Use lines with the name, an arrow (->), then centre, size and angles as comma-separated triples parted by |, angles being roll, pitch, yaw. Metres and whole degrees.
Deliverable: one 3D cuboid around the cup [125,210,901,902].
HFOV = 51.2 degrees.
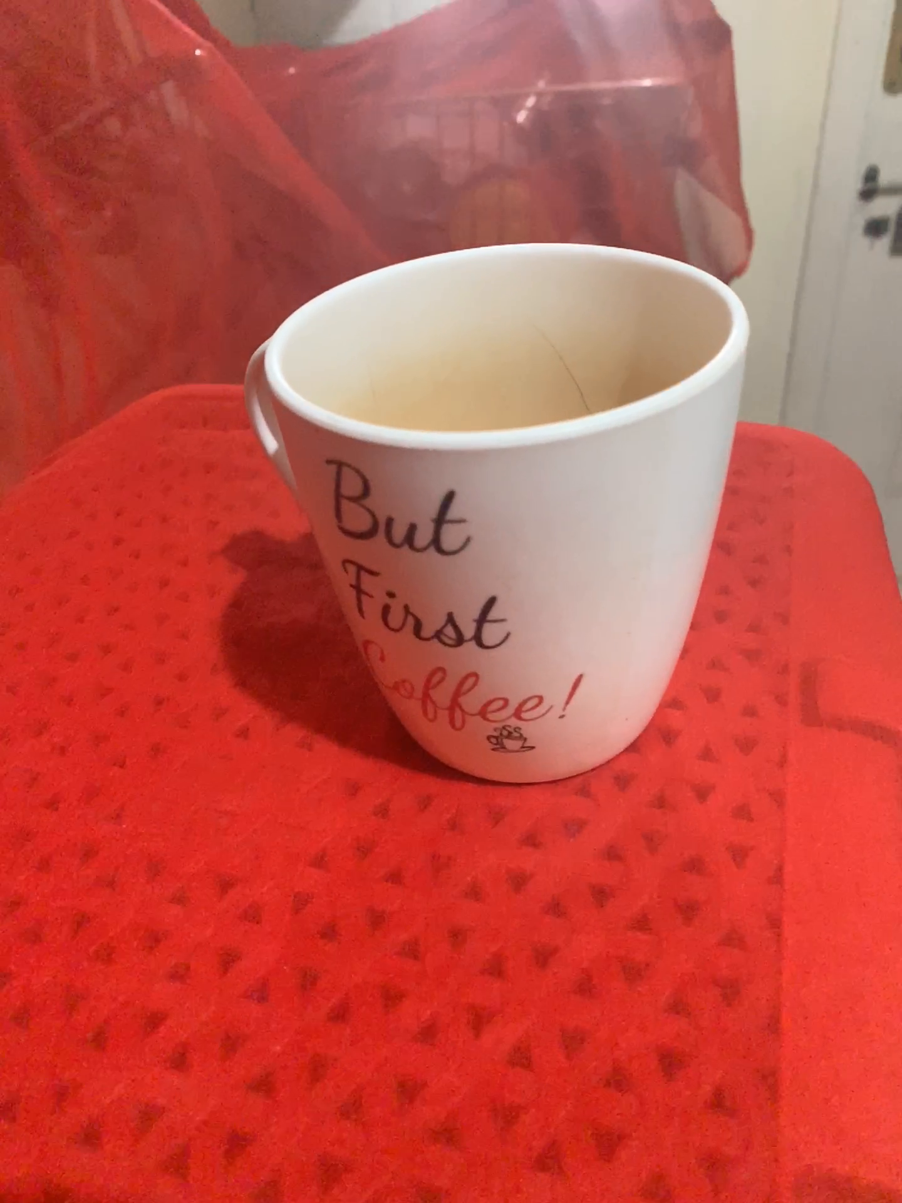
cup -> 0.014, -0.021, 0.195 | 0.110, 0.079, 0.090 | 23, 46, 32
